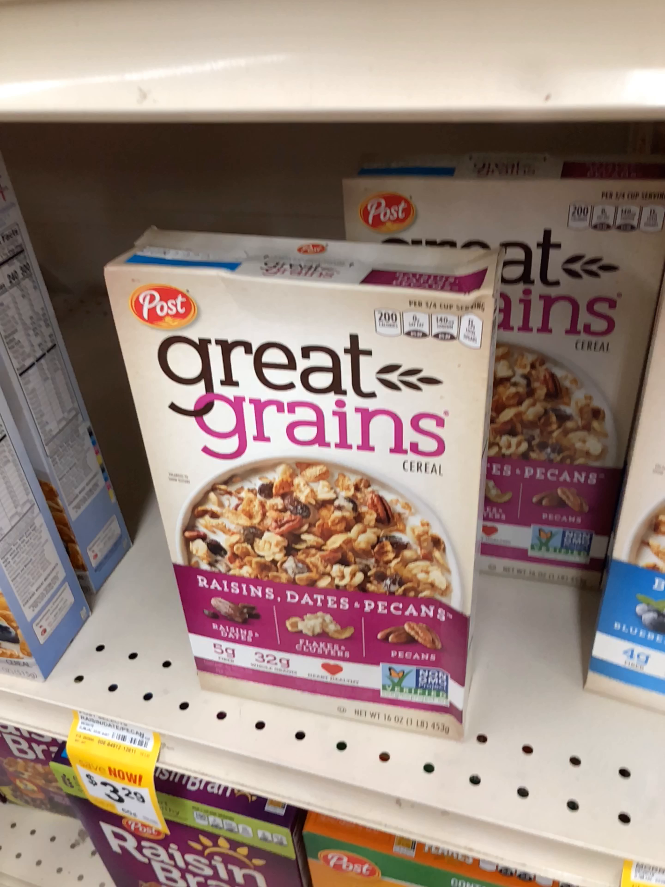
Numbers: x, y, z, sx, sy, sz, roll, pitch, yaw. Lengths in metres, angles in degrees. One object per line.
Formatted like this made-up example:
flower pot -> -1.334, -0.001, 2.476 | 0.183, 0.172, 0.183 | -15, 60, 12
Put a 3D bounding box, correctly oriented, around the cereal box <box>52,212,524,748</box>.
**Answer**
cereal box -> -0.008, 0.032, 0.356 | 0.170, 0.269, 0.050 | 6, 38, 14
